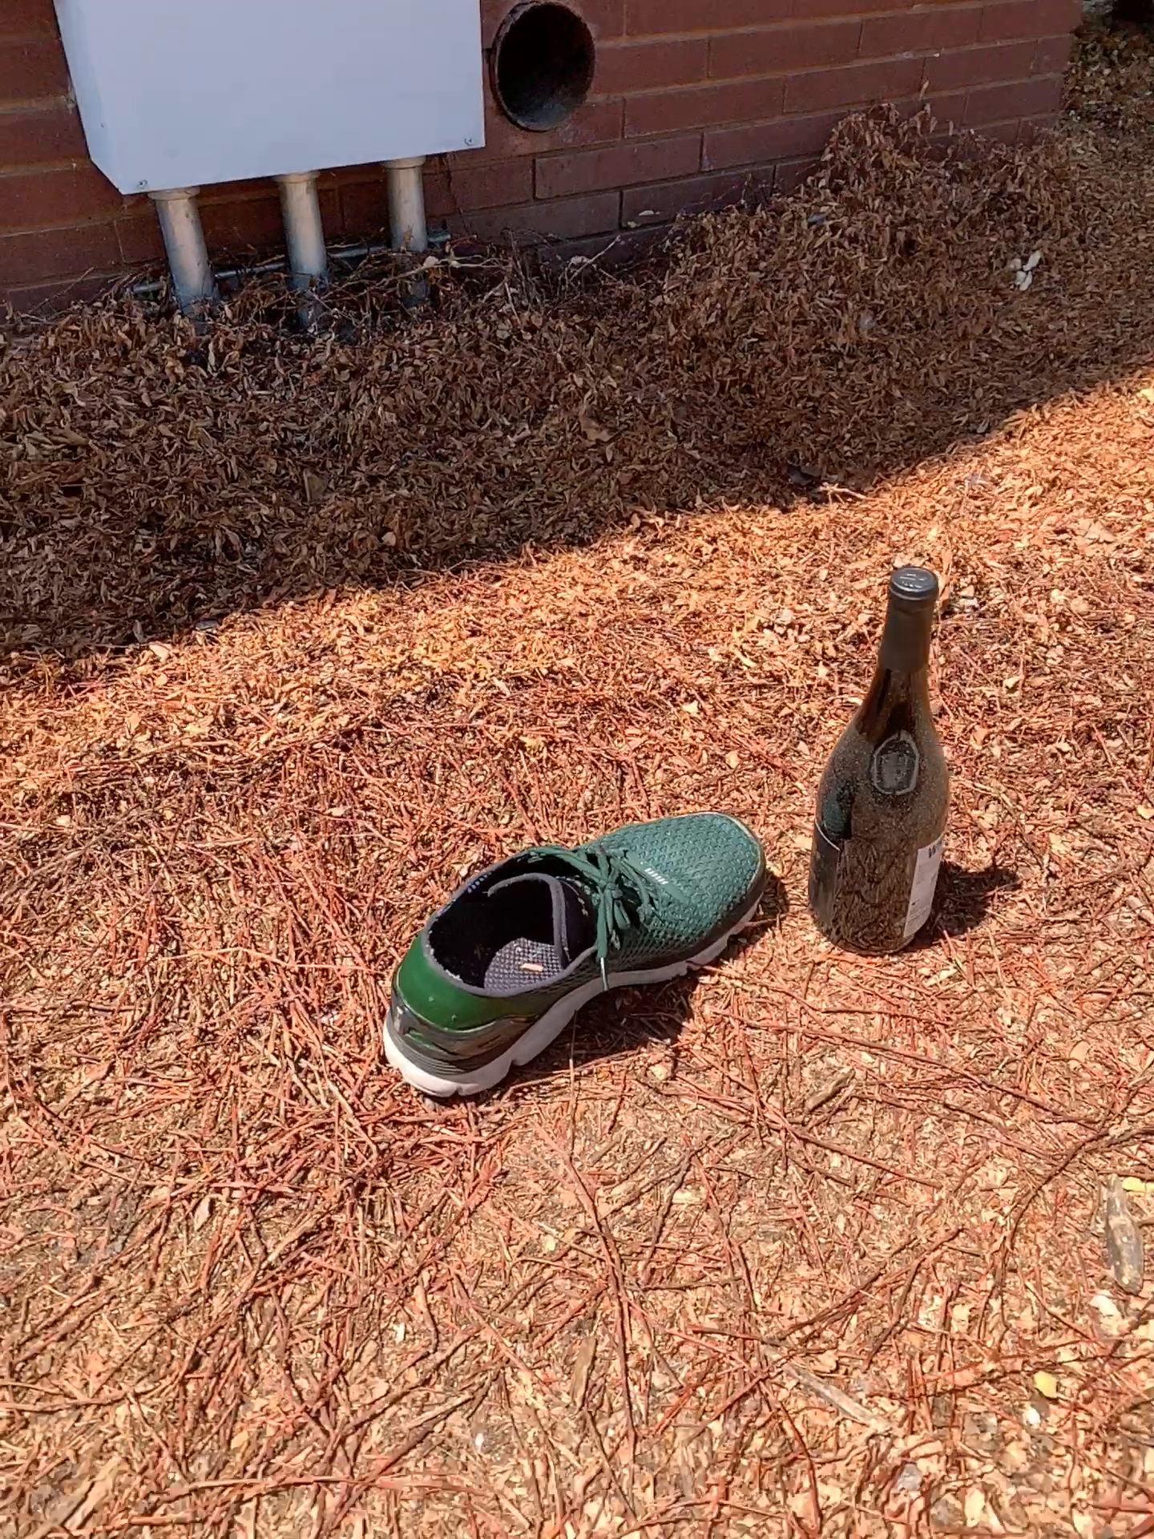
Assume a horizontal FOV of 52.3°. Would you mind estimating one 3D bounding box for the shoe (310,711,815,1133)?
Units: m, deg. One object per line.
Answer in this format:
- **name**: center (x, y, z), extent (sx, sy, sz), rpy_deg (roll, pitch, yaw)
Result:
- **shoe**: center (-0.004, 0.087, 0.778), extent (0.300, 0.099, 0.131), rpy_deg (-25, 47, -27)
